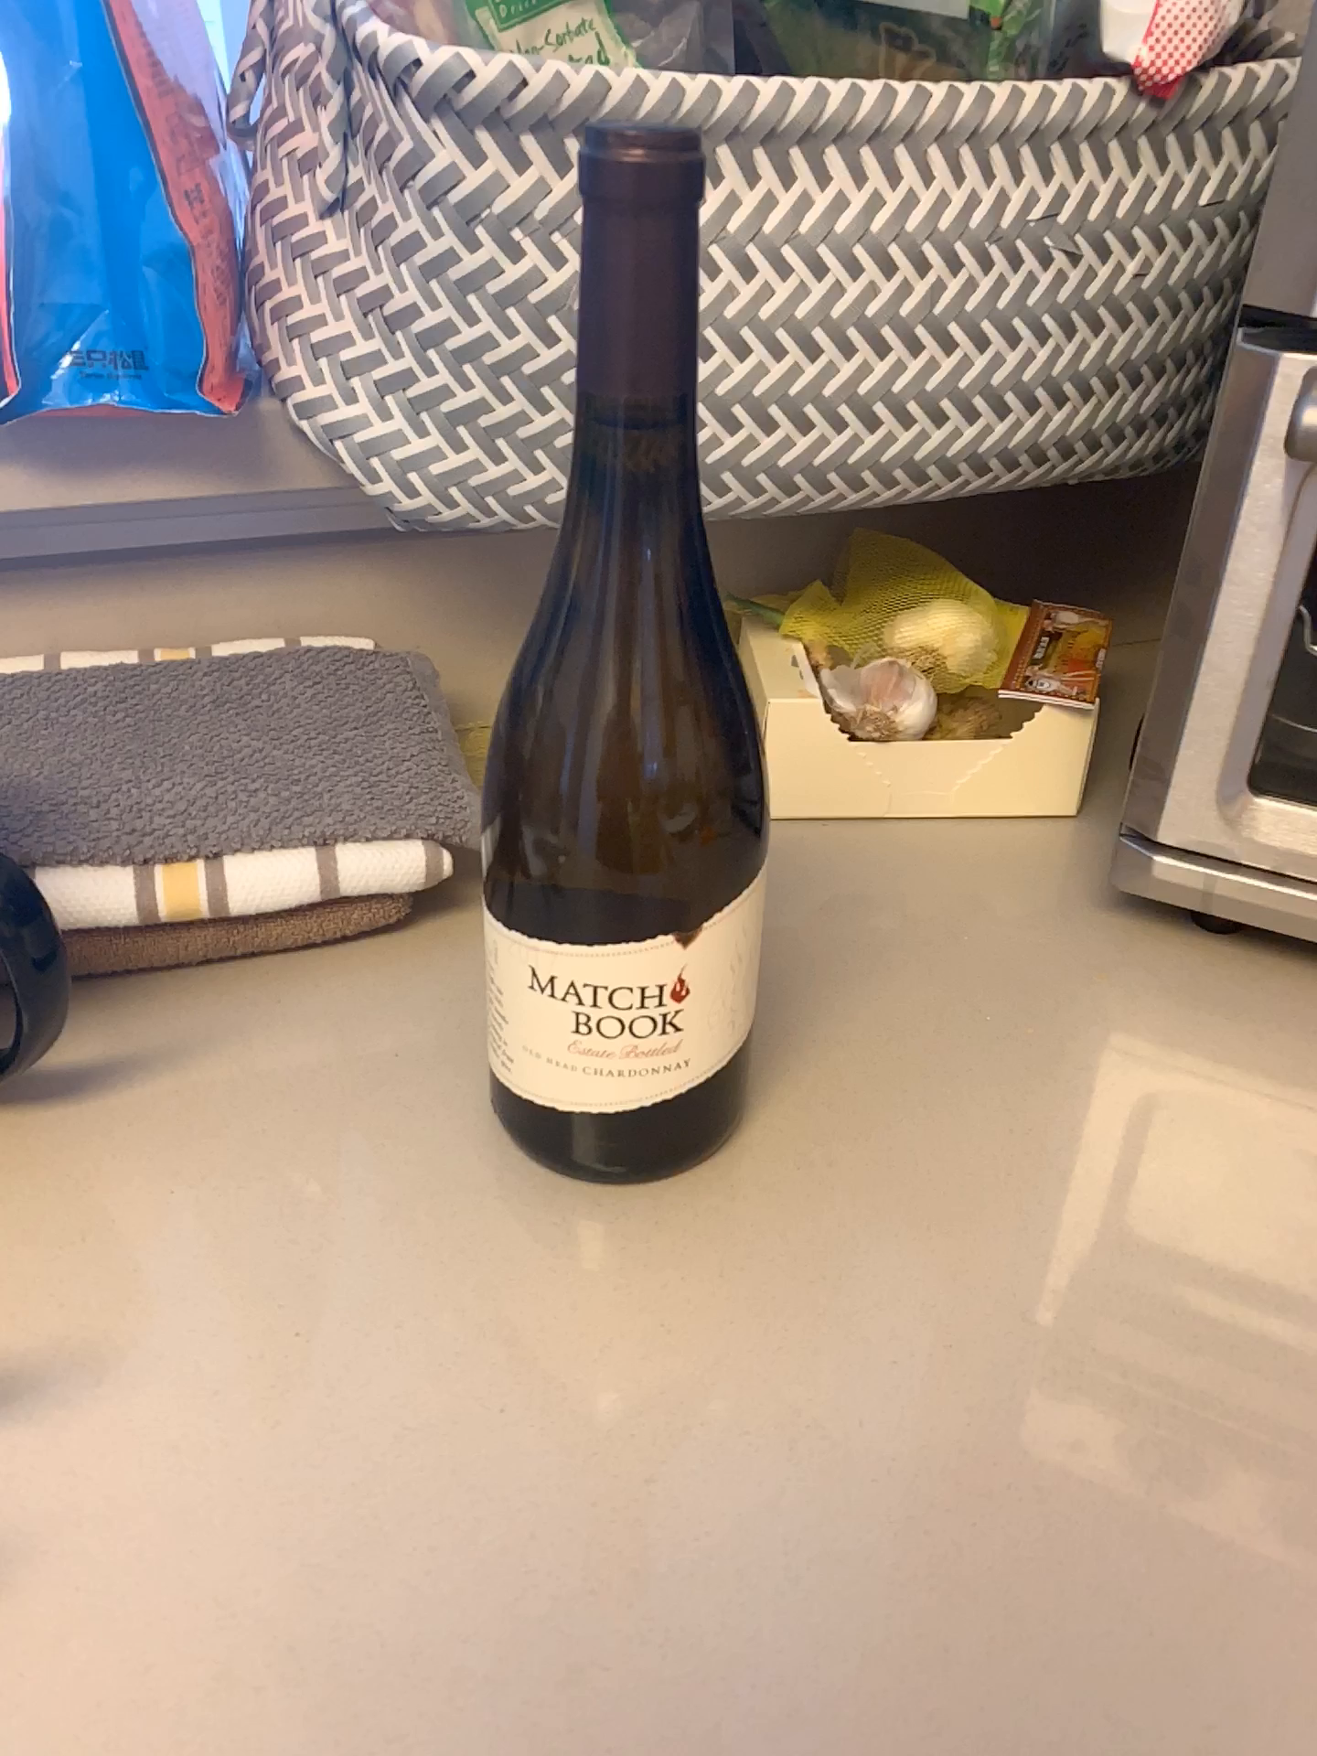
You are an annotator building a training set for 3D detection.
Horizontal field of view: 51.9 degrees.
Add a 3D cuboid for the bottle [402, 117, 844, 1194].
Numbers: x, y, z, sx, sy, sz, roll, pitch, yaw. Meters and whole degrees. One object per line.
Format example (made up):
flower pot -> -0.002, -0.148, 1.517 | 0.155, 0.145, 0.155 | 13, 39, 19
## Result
bottle -> -0.009, -0.052, 0.393 | 0.090, 0.288, 0.101 | 3, 32, 1
